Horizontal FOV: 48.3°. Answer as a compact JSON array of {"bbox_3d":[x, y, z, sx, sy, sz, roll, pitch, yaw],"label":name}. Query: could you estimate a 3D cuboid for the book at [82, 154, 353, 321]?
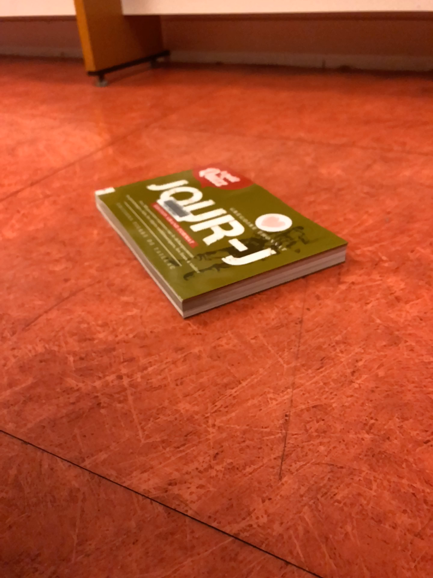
[{"bbox_3d":[-0.013,-0.061,0.407,0.137,0.016,0.219,-19,39,-23],"label":"book"}]
